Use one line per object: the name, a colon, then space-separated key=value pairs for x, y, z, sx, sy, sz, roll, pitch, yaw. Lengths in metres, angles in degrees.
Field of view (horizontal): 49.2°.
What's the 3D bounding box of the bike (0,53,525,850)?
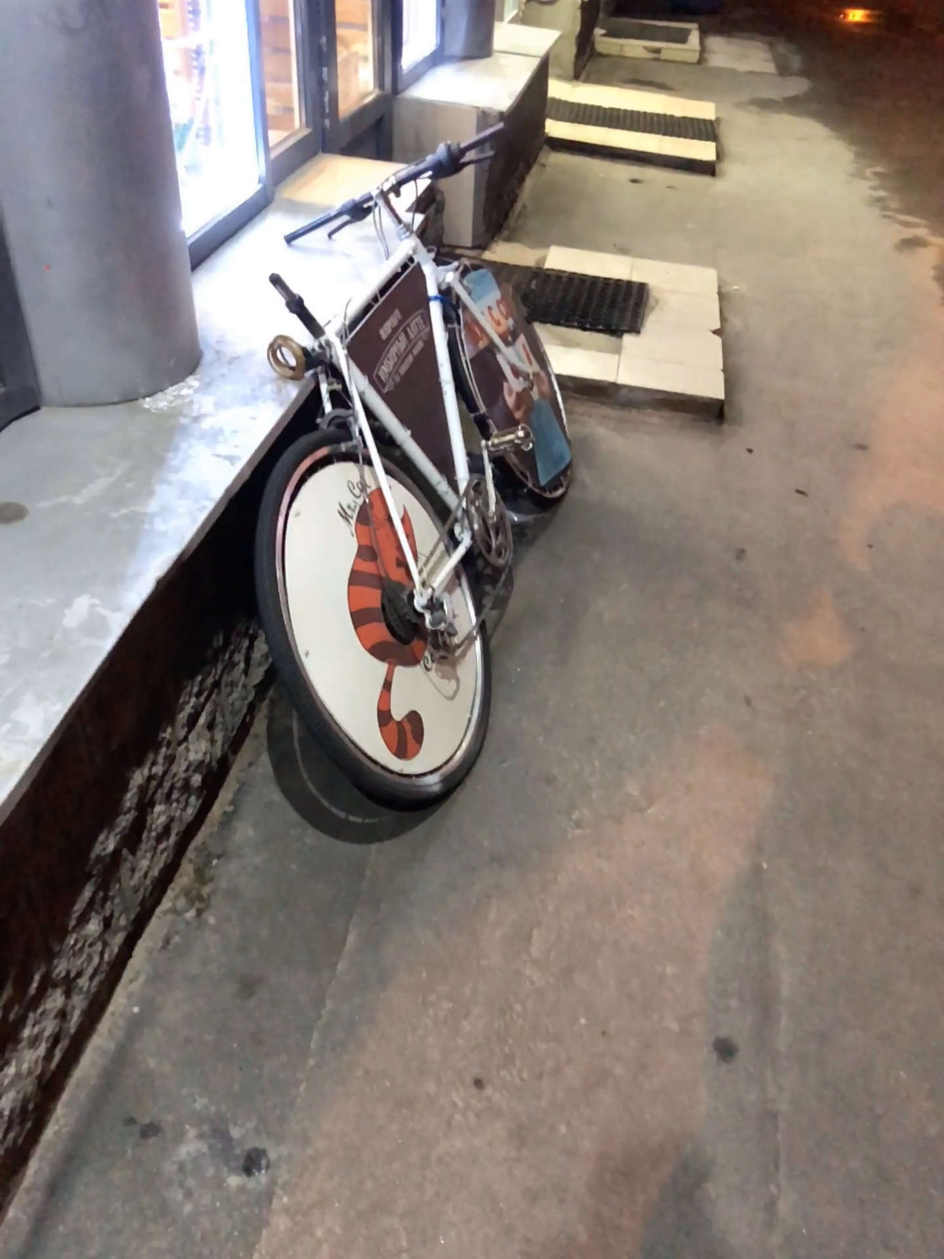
bike: x=-0.315 y=-0.527 z=2.157 sx=0.569 sy=0.916 sz=1.595 roll=9 pitch=38 yaw=7
